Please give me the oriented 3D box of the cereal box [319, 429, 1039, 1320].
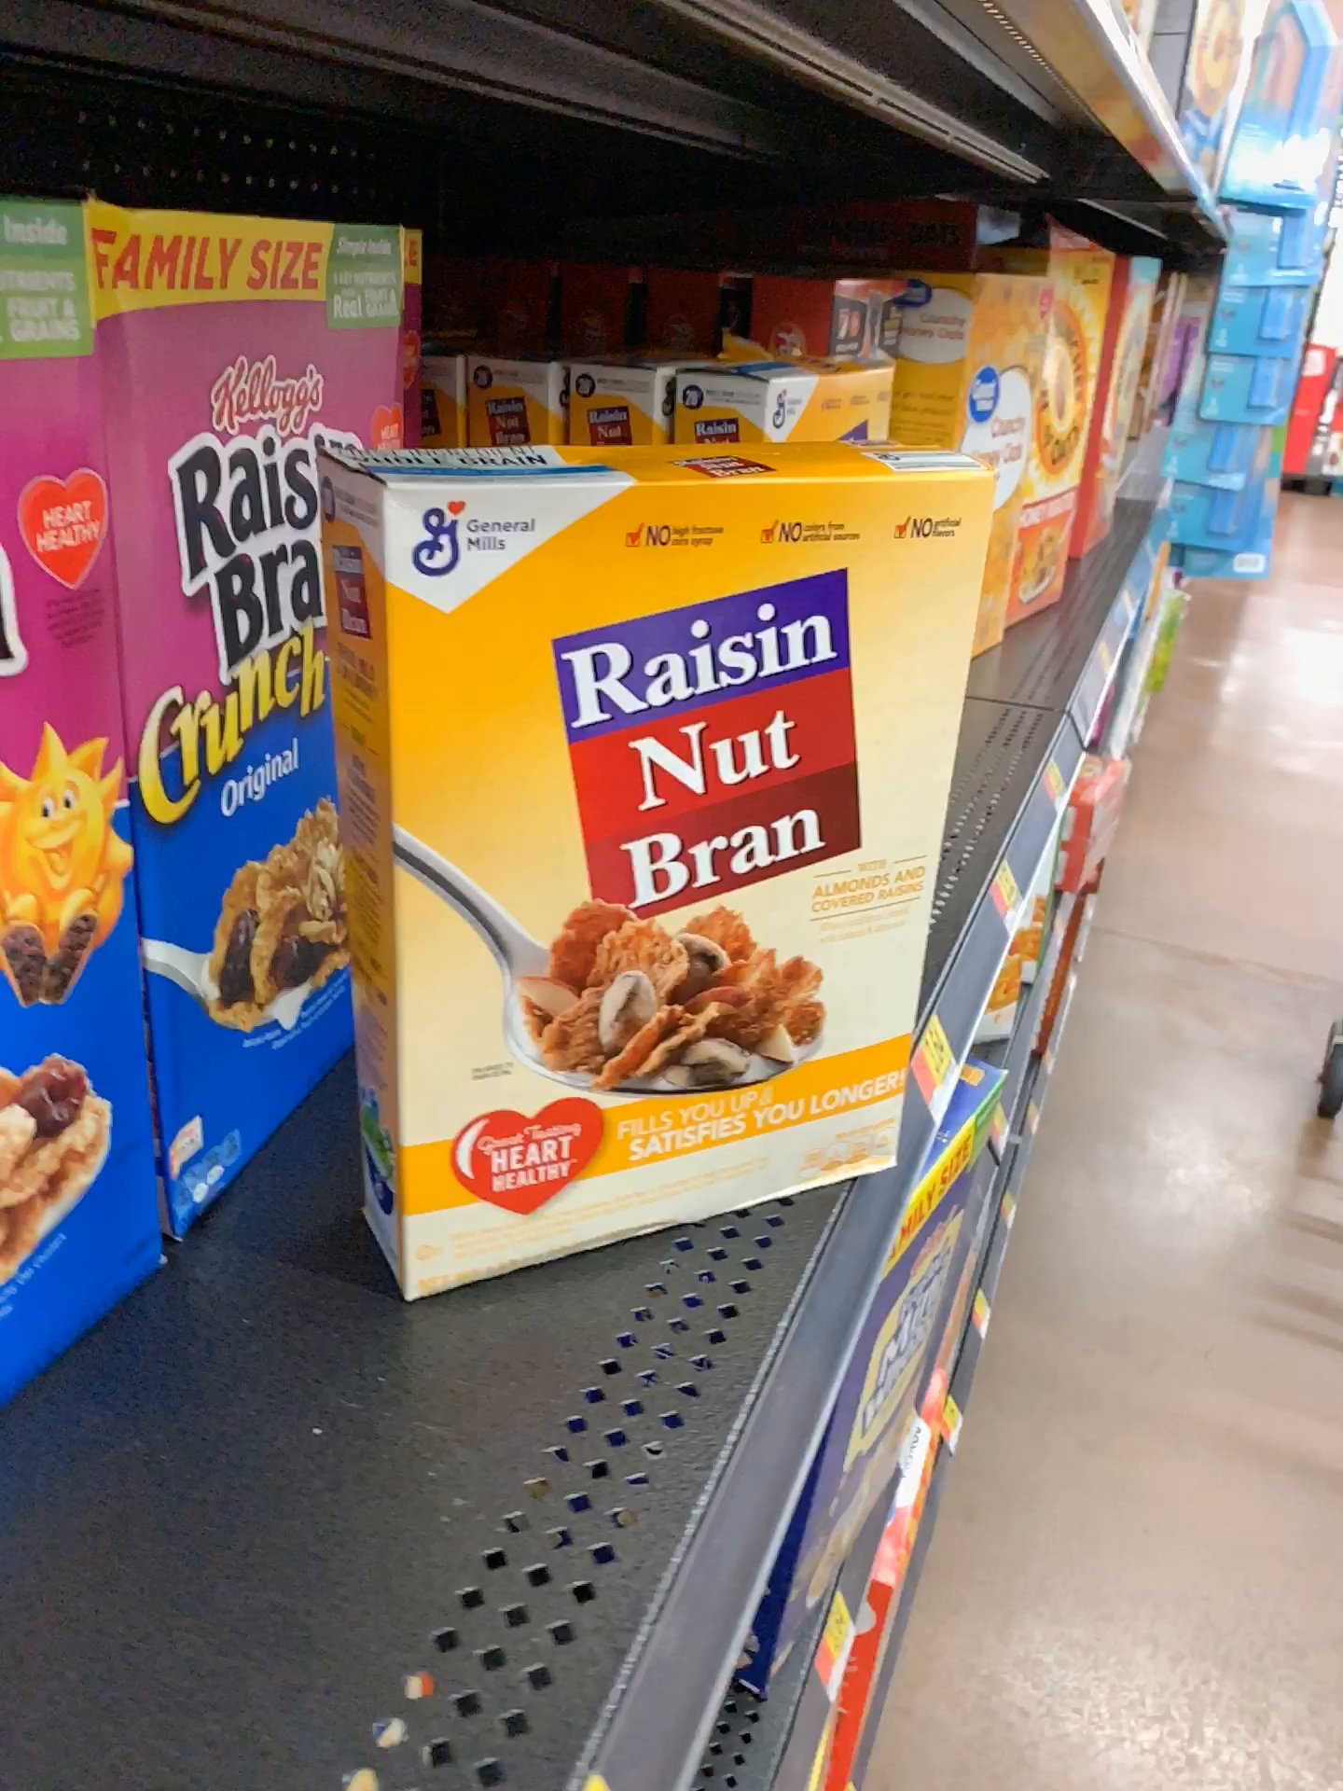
[{"bbox_3d":[-0.001,-0.011,0.446,0.200,0.259,0.060,-8,27,-25],"label":"cereal box"}]
